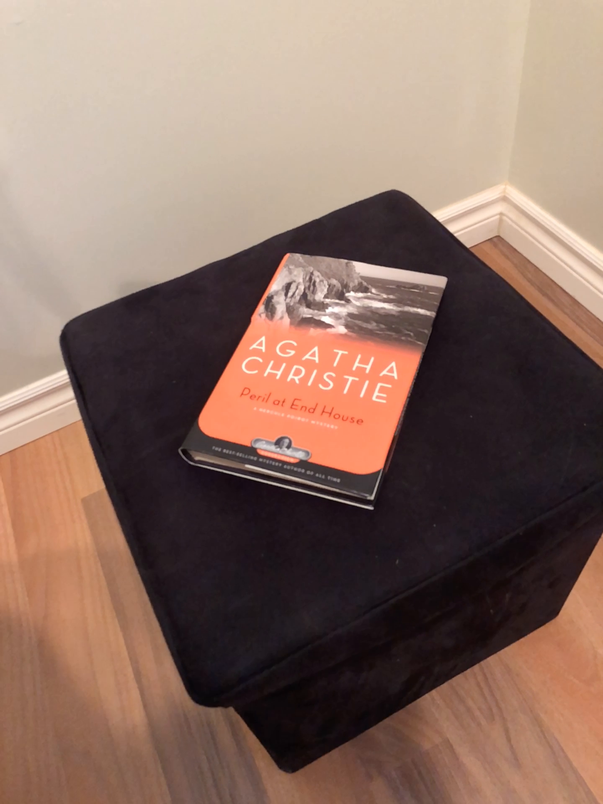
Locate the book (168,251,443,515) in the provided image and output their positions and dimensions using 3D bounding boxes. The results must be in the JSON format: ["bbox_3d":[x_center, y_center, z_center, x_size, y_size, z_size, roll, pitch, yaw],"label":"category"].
[{"bbox_3d":[0.012,-0.028,0.505,0.146,0.030,0.207,12,55,18],"label":"book"}]
